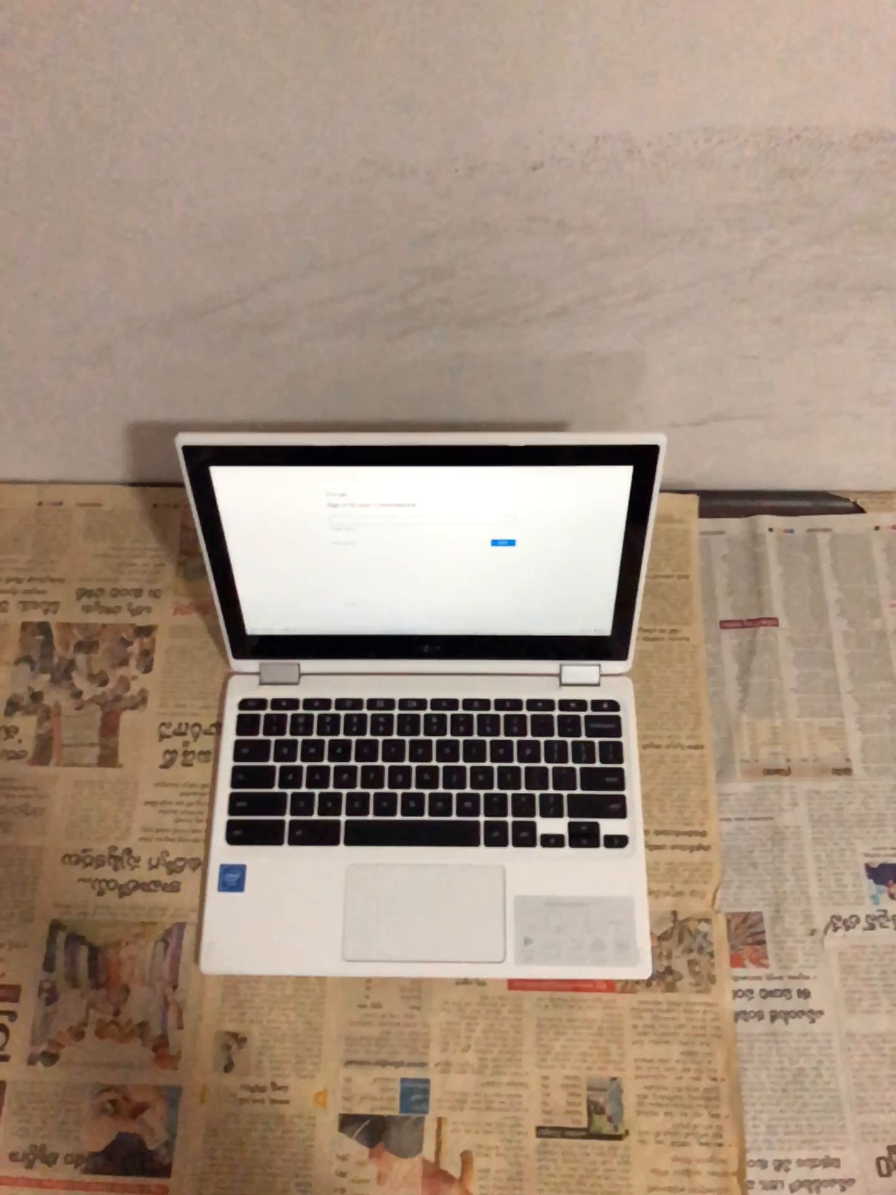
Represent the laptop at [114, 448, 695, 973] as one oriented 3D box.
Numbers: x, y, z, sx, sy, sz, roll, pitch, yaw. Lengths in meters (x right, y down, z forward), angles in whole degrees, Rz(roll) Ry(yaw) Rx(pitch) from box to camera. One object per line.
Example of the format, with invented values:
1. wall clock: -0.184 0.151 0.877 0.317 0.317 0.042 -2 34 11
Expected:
1. laptop: -0.016 0.073 0.589 0.268 0.168 0.278 0 67 2
